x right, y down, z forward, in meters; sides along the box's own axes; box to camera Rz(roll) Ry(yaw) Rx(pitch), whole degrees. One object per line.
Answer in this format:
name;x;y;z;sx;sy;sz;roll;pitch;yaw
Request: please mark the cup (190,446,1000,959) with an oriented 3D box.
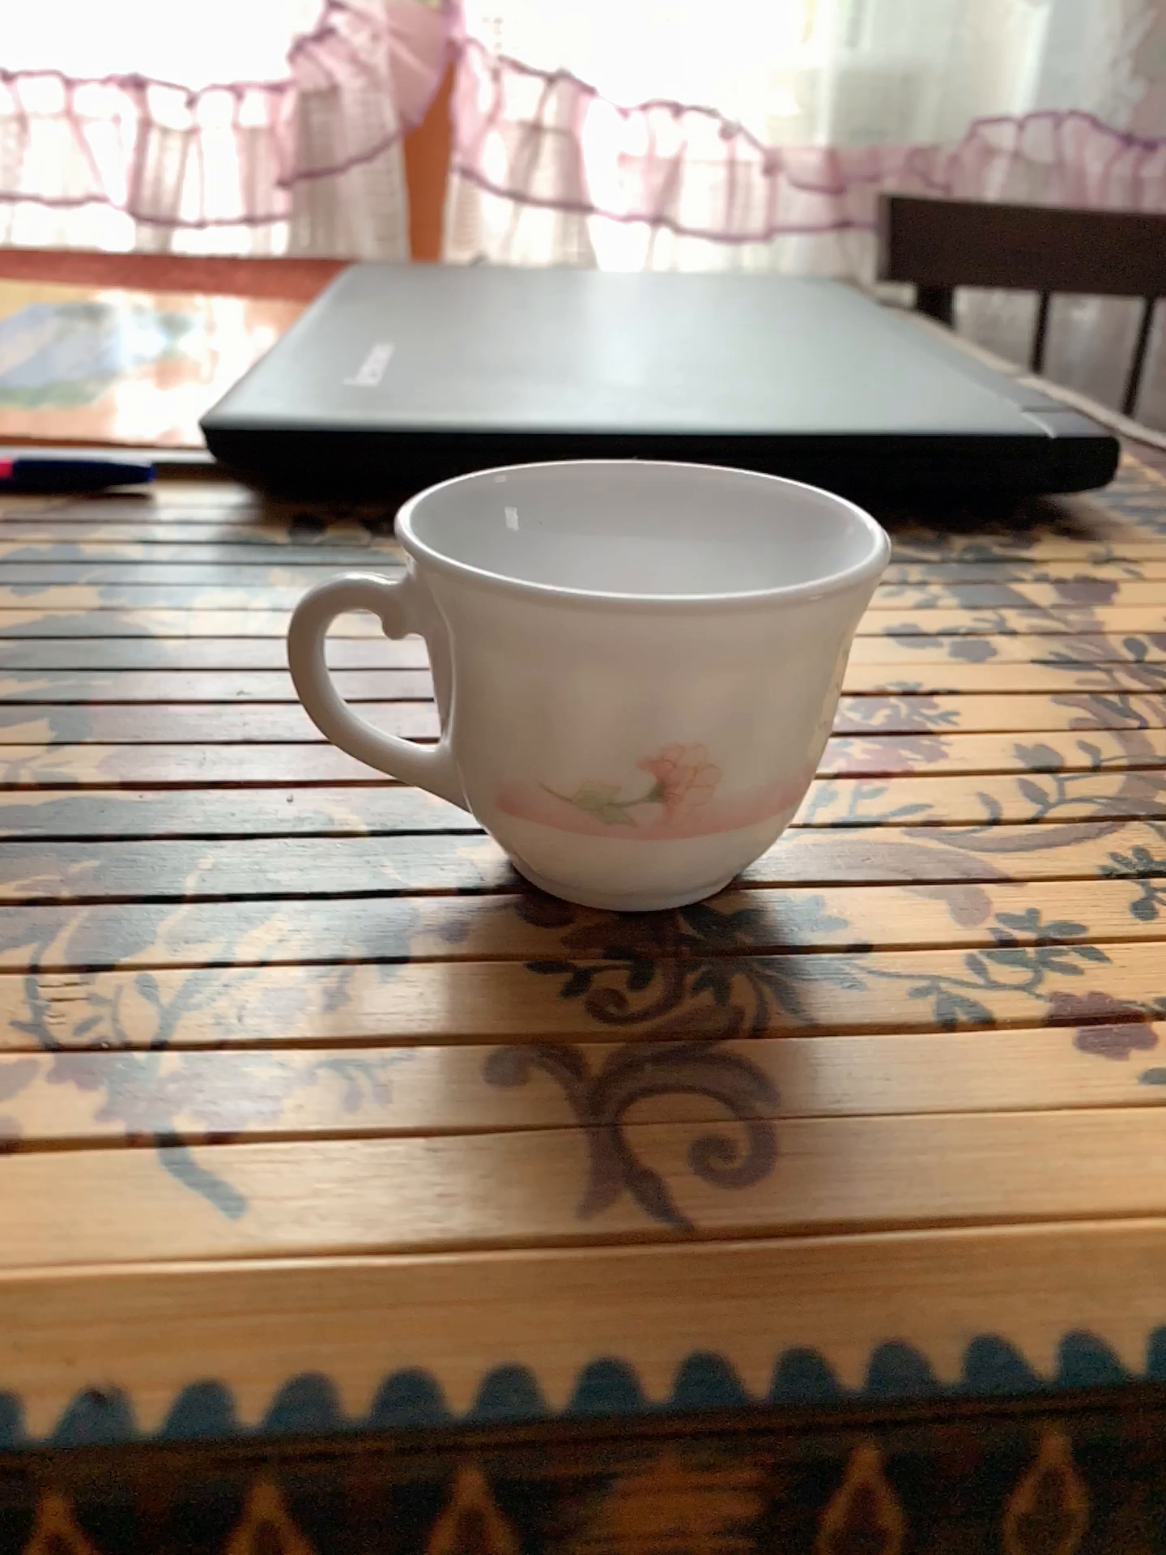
cup;0.001;-0.014;0.160;0.080;0.039;0.068;3;27;0
